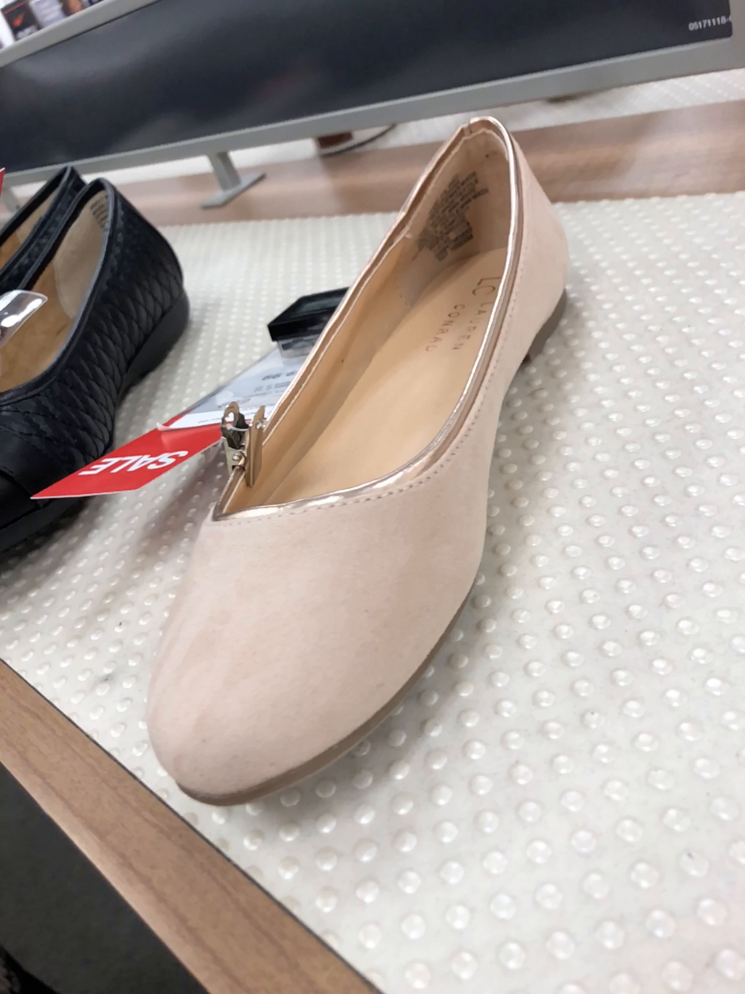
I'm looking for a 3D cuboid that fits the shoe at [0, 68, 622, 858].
[{"bbox_3d":[-0.003,-0.034,0.228,0.085,0.063,0.228,-1,41,32],"label":"shoe"}]
